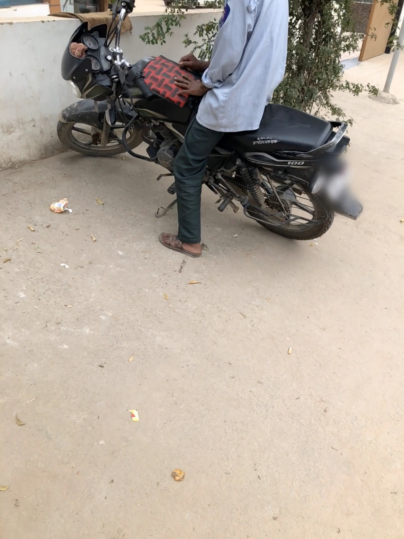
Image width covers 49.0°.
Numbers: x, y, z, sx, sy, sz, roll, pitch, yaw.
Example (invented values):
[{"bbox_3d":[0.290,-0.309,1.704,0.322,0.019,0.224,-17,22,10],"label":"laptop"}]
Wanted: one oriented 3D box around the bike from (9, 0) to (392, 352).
[{"bbox_3d":[-0.033,-0.637,2.241,1.497,1.332,0.791,21,37,20],"label":"bike"}]
